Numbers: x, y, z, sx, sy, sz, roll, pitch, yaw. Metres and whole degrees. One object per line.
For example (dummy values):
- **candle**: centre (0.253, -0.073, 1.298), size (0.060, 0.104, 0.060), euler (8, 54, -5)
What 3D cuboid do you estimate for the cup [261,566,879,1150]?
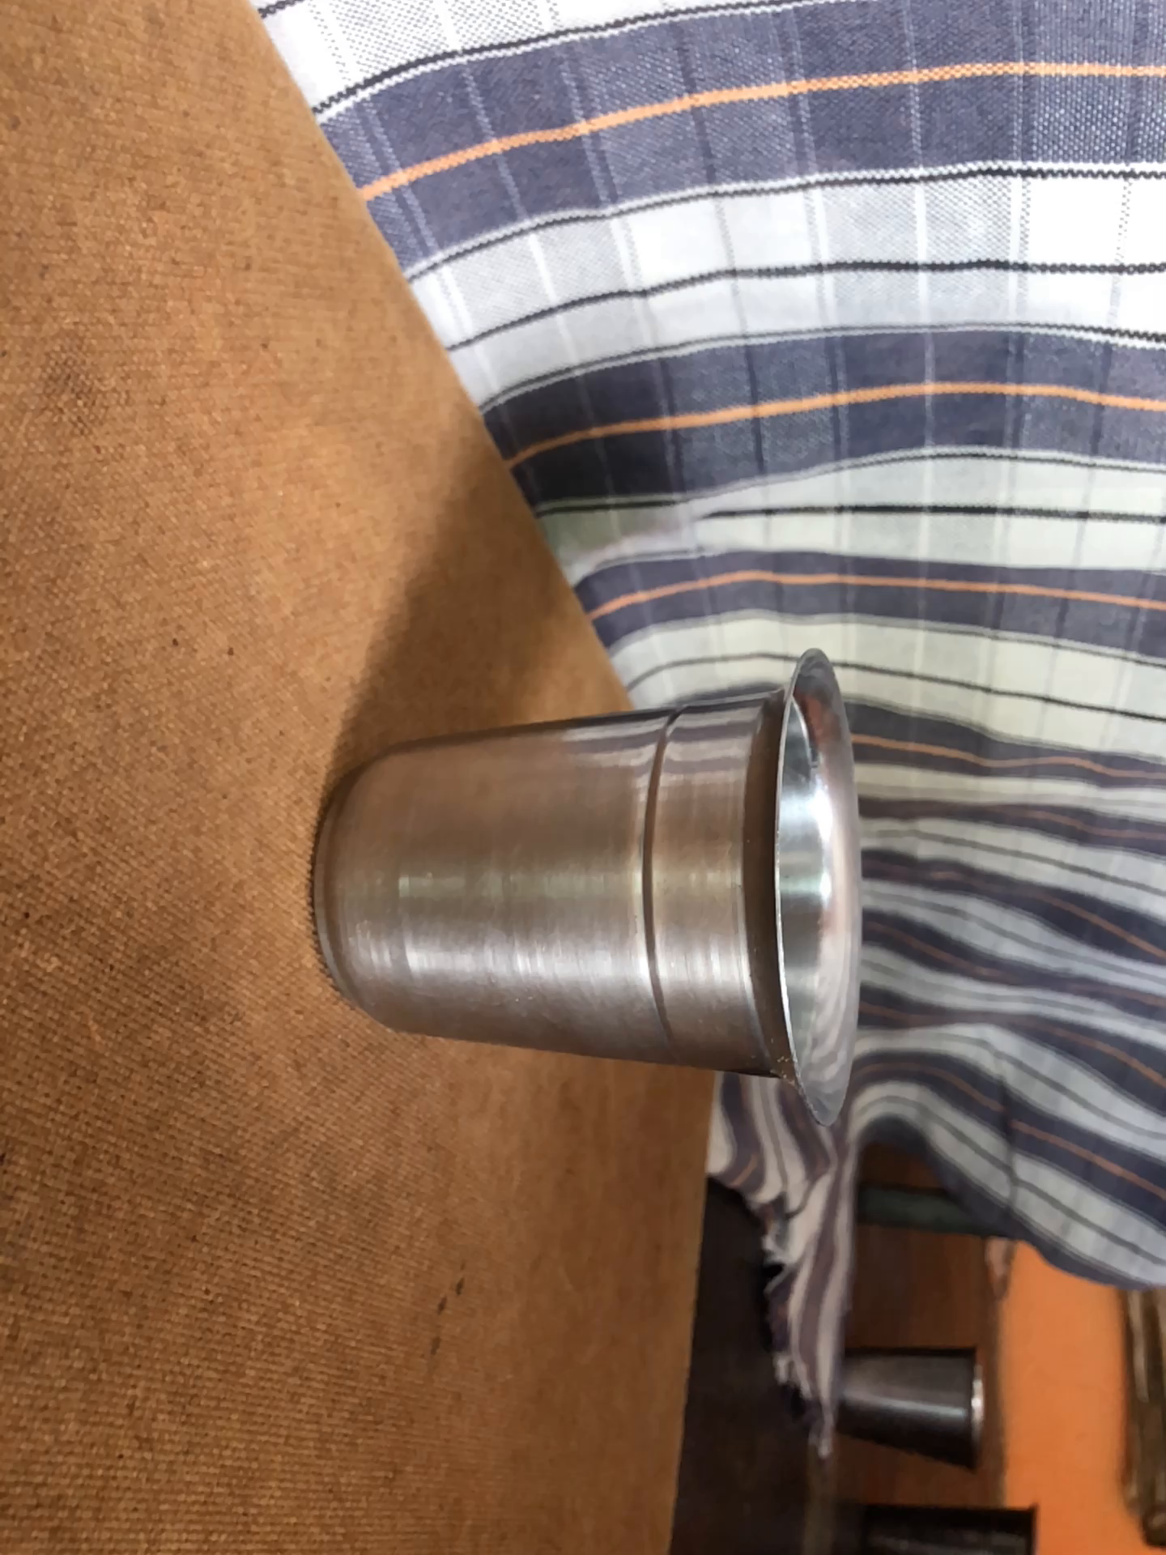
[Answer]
- **cup**: centre (0.005, 0.013, 0.232), size (0.070, 0.080, 0.070), euler (-3, 90, -71)
